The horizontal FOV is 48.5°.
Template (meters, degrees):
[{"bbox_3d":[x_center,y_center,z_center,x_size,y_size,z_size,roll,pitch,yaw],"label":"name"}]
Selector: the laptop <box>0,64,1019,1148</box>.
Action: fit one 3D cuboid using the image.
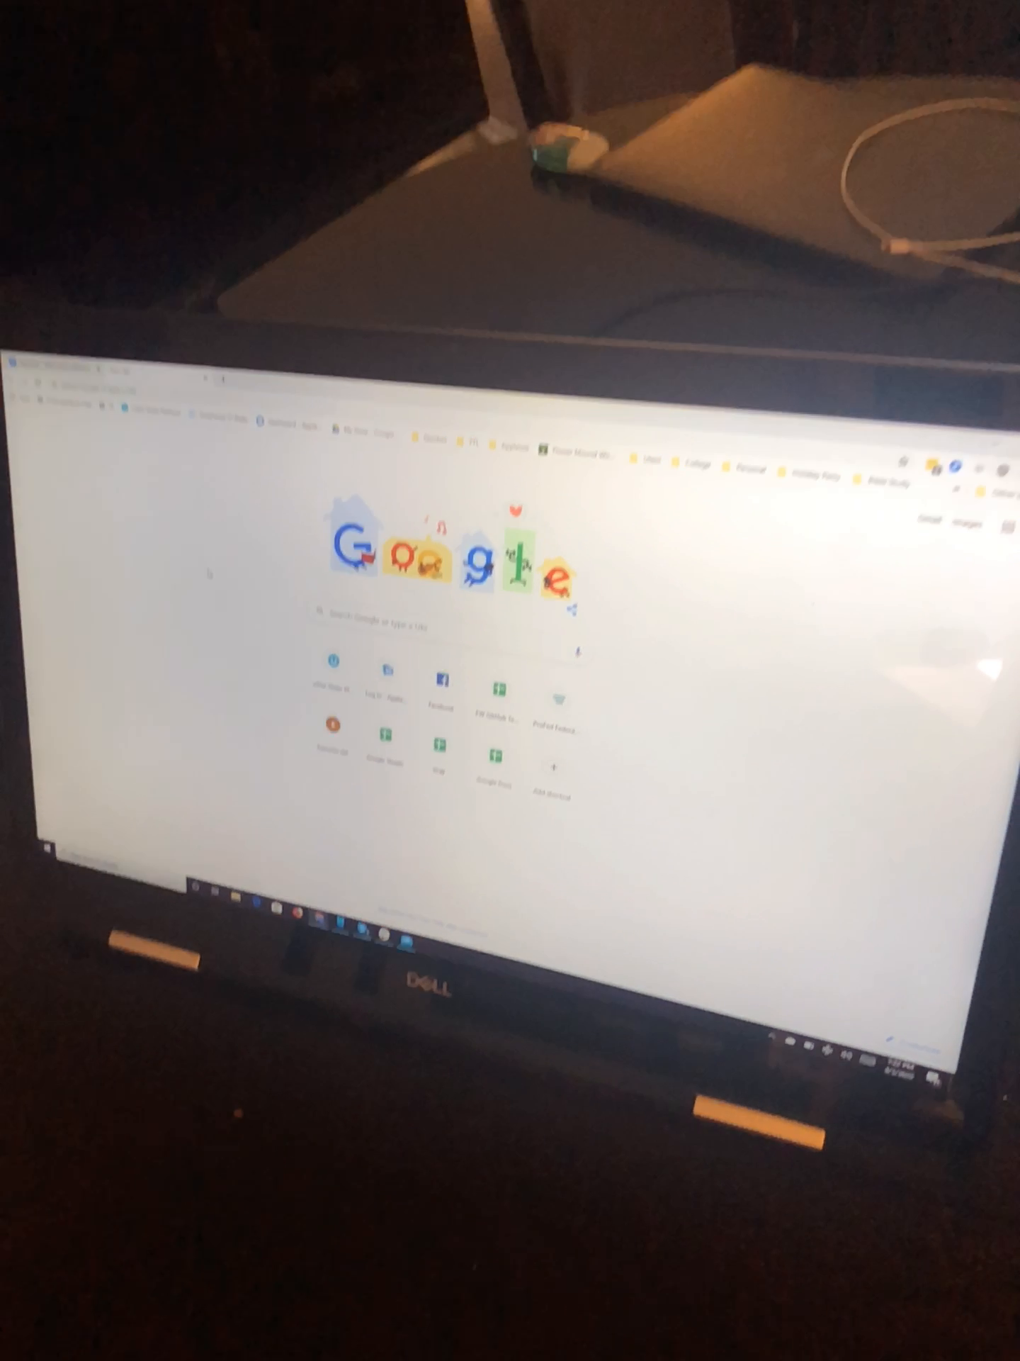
[{"bbox_3d":[0.000,-0.051,0.436,0.419,0.232,0.267,10,52,20],"label":"laptop"}]
